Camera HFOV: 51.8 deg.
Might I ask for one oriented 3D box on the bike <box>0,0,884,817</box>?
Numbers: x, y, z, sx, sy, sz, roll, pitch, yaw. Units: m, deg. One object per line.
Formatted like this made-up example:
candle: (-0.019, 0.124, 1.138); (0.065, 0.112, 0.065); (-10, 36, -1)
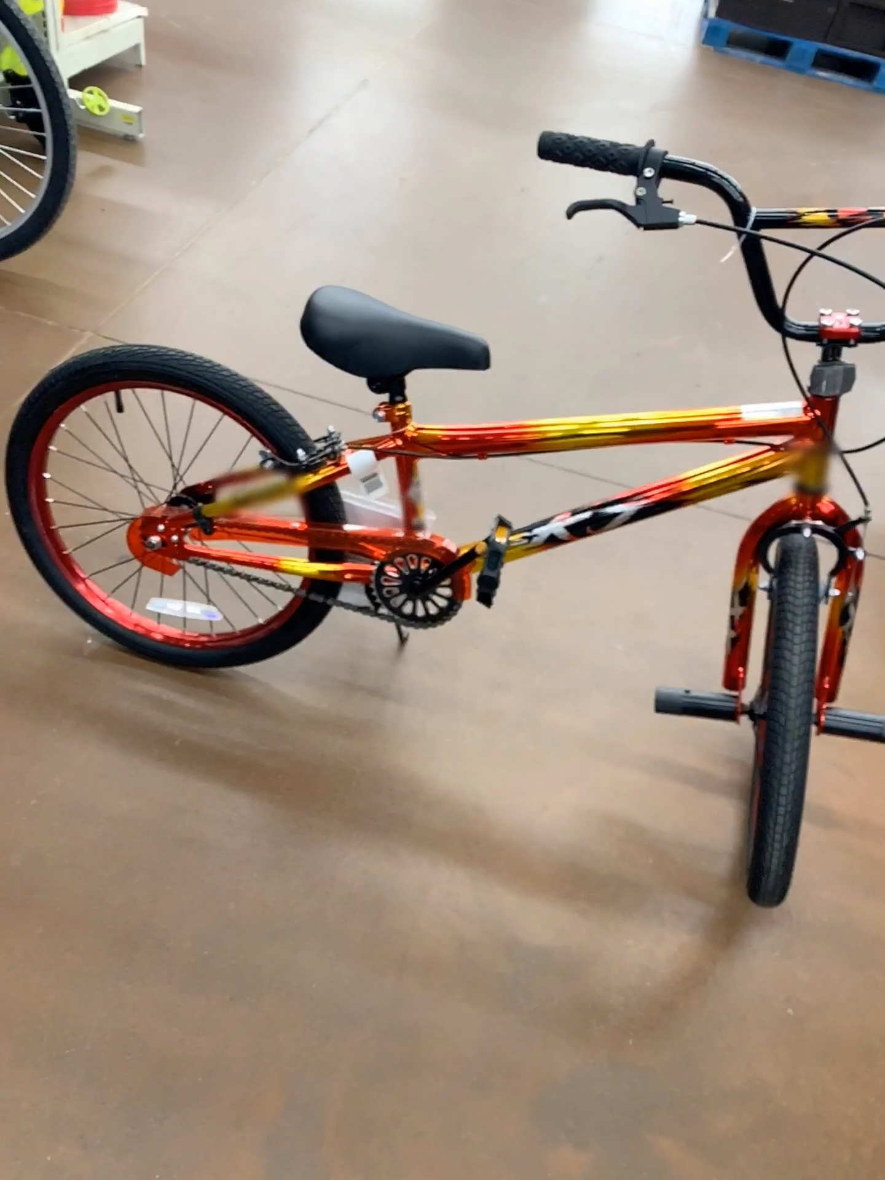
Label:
bike: (0.023, -0.298, 1.160); (1.122, 0.925, 0.707); (8, 44, -4)
